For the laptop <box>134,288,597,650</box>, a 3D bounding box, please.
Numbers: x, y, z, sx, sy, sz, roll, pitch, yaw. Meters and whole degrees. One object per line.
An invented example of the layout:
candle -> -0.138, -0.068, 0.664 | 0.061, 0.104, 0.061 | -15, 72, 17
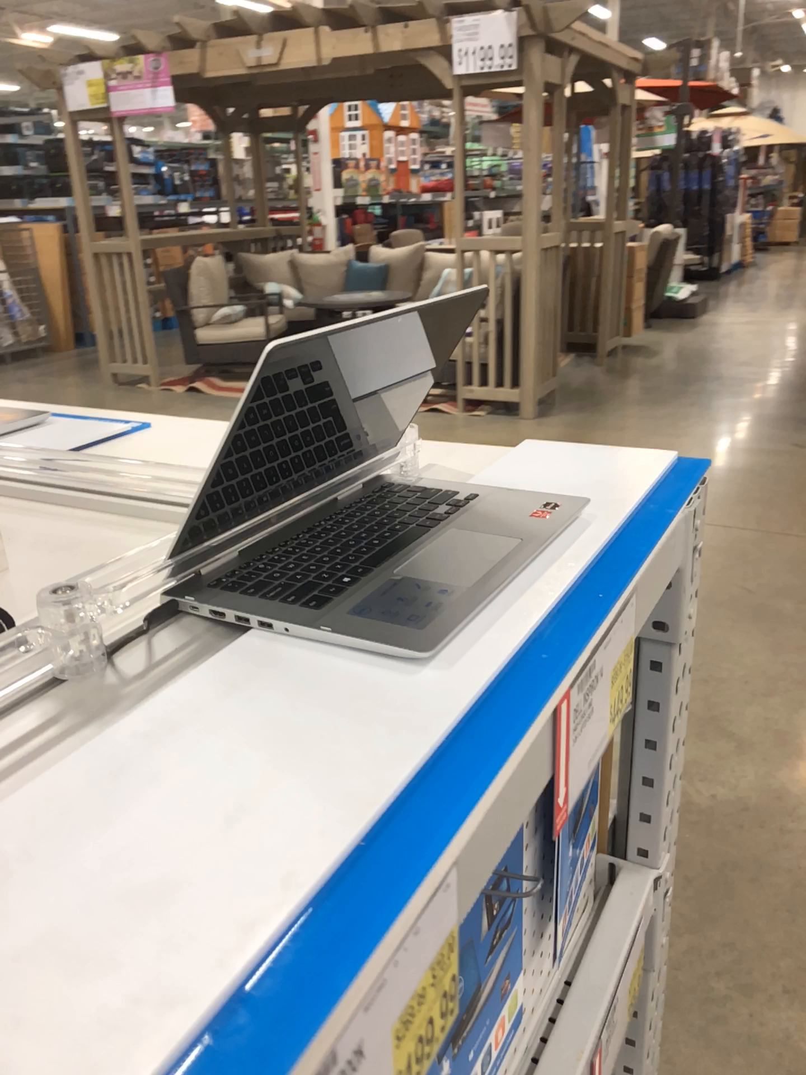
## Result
laptop -> -0.004, -0.081, 0.686 | 0.210, 0.183, 0.308 | 9, 24, 27
